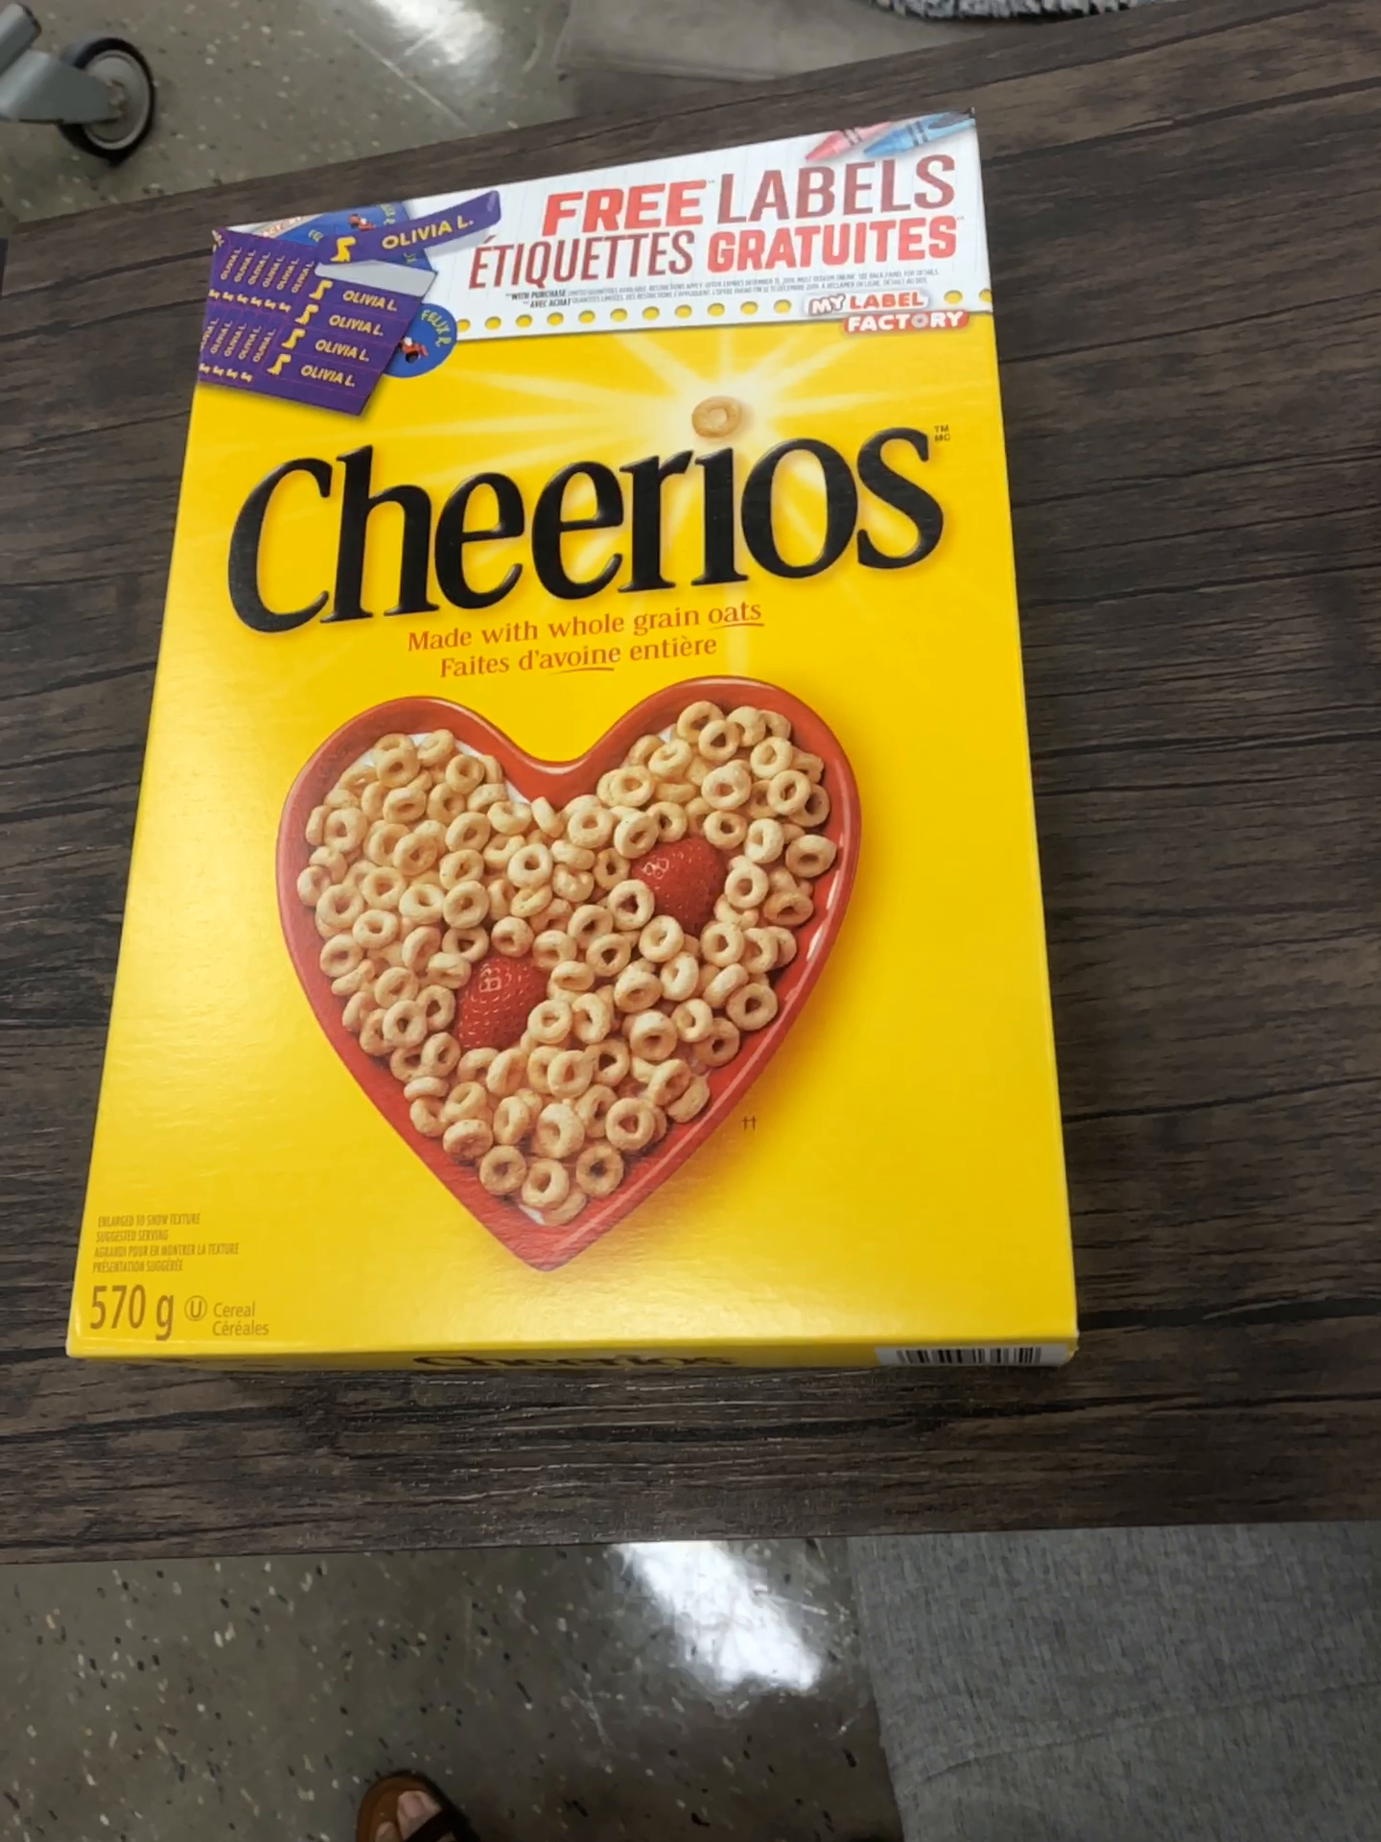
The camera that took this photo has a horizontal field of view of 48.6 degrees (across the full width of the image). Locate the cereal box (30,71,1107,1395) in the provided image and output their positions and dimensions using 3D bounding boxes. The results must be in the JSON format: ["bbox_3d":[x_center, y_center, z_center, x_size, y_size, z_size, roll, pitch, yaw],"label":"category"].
[{"bbox_3d":[-0.027,-0.048,0.432,0.240,0.100,0.340,-4,70,10],"label":"cereal box"}]
